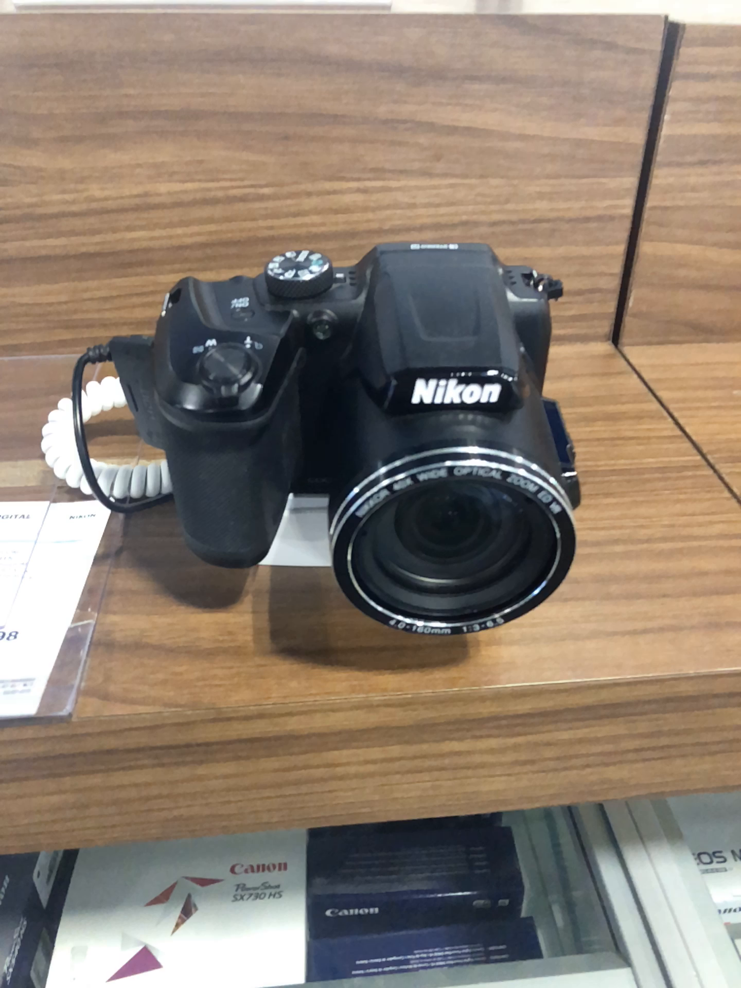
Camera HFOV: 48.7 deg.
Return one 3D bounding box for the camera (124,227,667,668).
[{"bbox_3d":[0.002,-0.019,0.226,0.110,0.079,0.096,-2,33,-4],"label":"camera"}]
